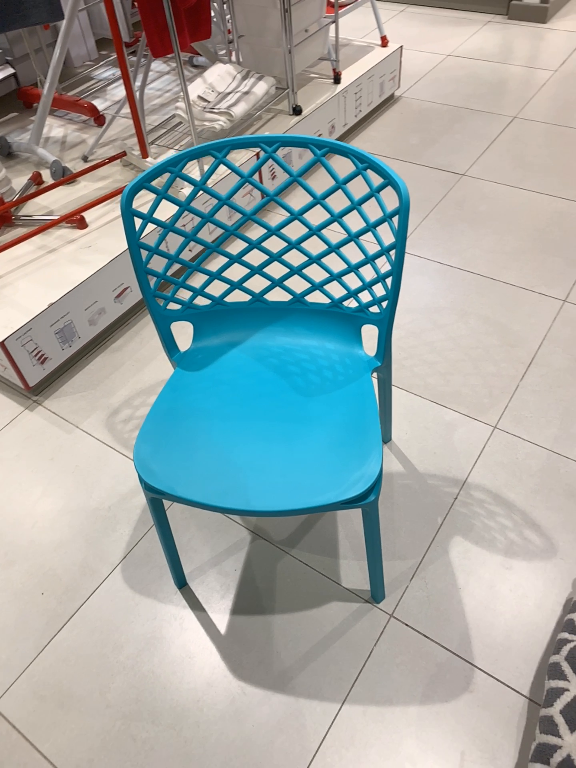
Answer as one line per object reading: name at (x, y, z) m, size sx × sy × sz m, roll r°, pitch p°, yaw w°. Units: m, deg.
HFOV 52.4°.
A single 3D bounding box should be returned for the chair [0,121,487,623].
chair at (-0.013, 0.021, 1.117) m, size 0.560 × 0.797 × 0.522 m, roll 1°, pitch 47°, yaw 7°
